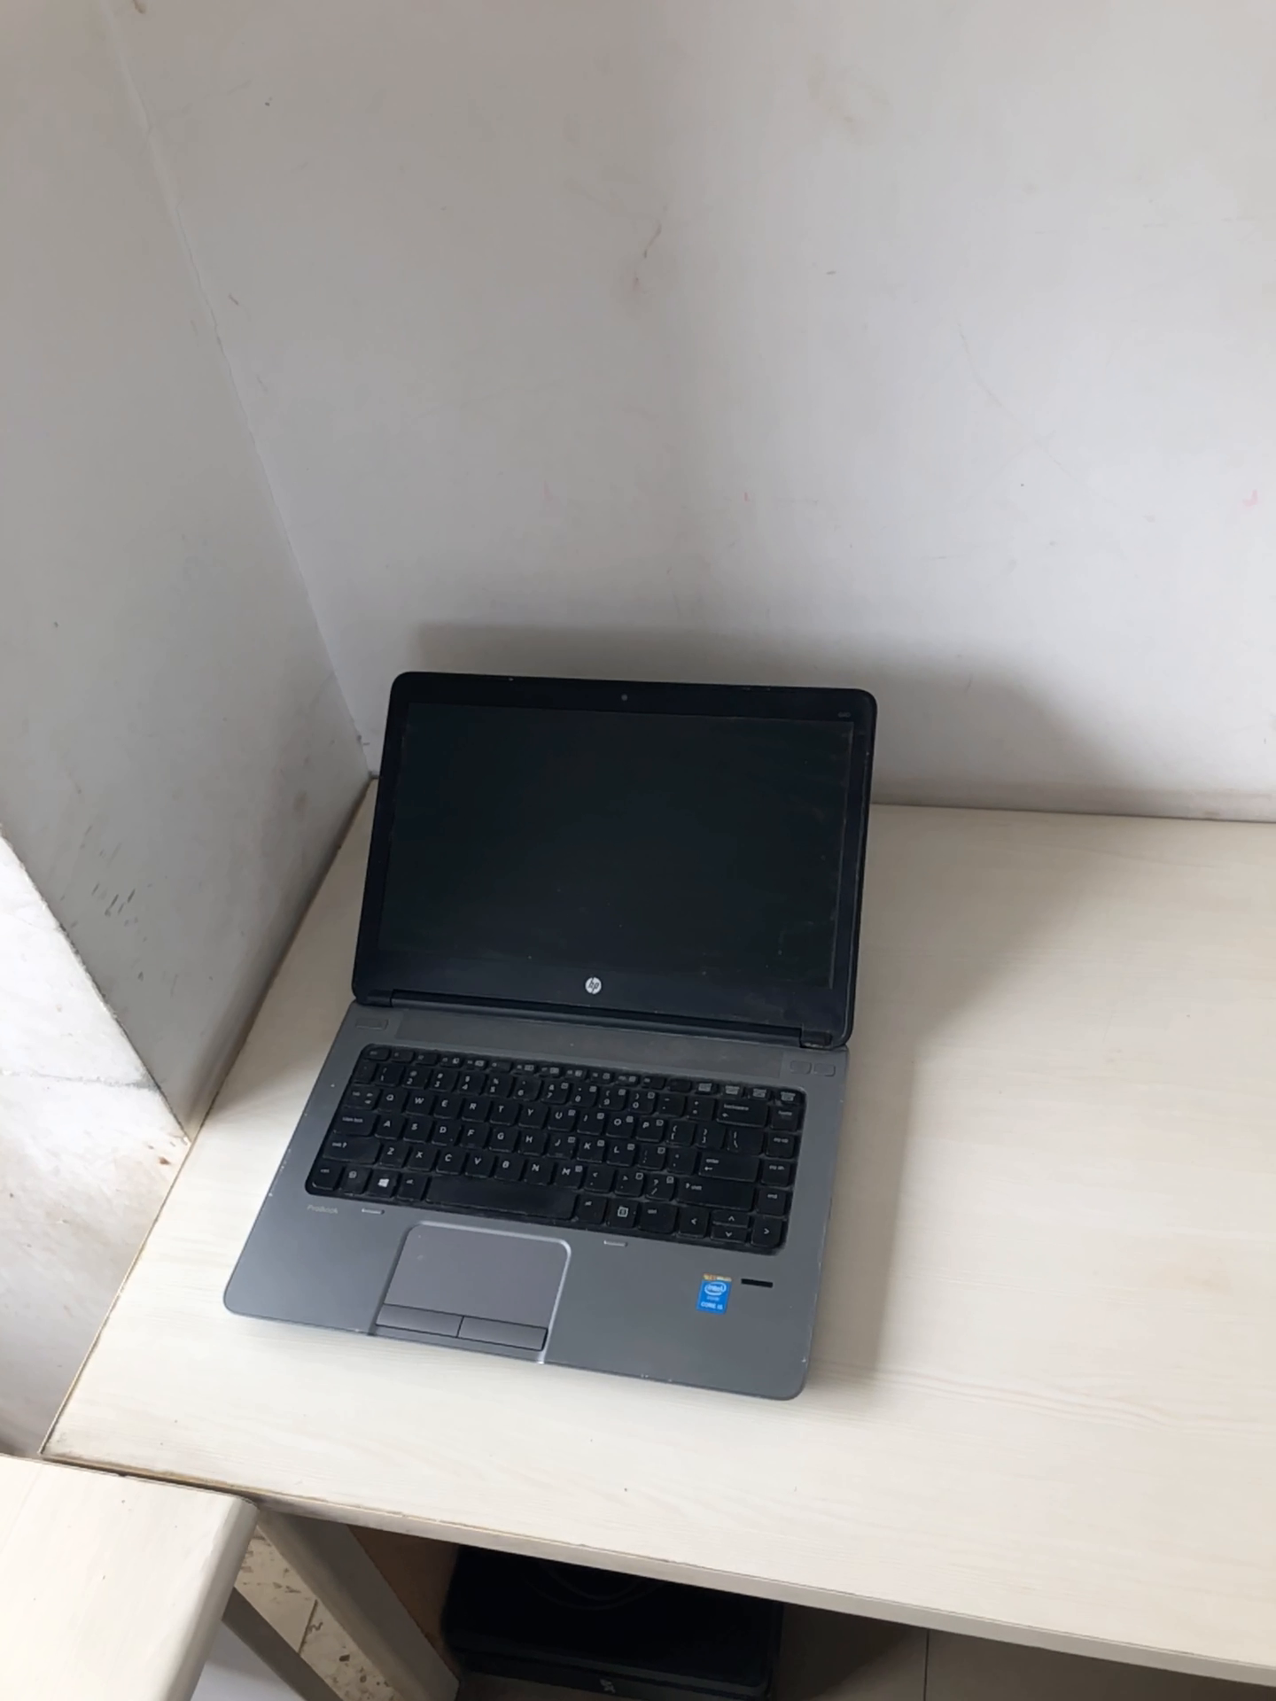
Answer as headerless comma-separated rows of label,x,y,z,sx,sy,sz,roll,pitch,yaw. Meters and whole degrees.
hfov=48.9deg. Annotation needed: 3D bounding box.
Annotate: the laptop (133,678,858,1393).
laptop,-0.049,0.084,0.870,0.327,0.137,0.407,4,46,12
